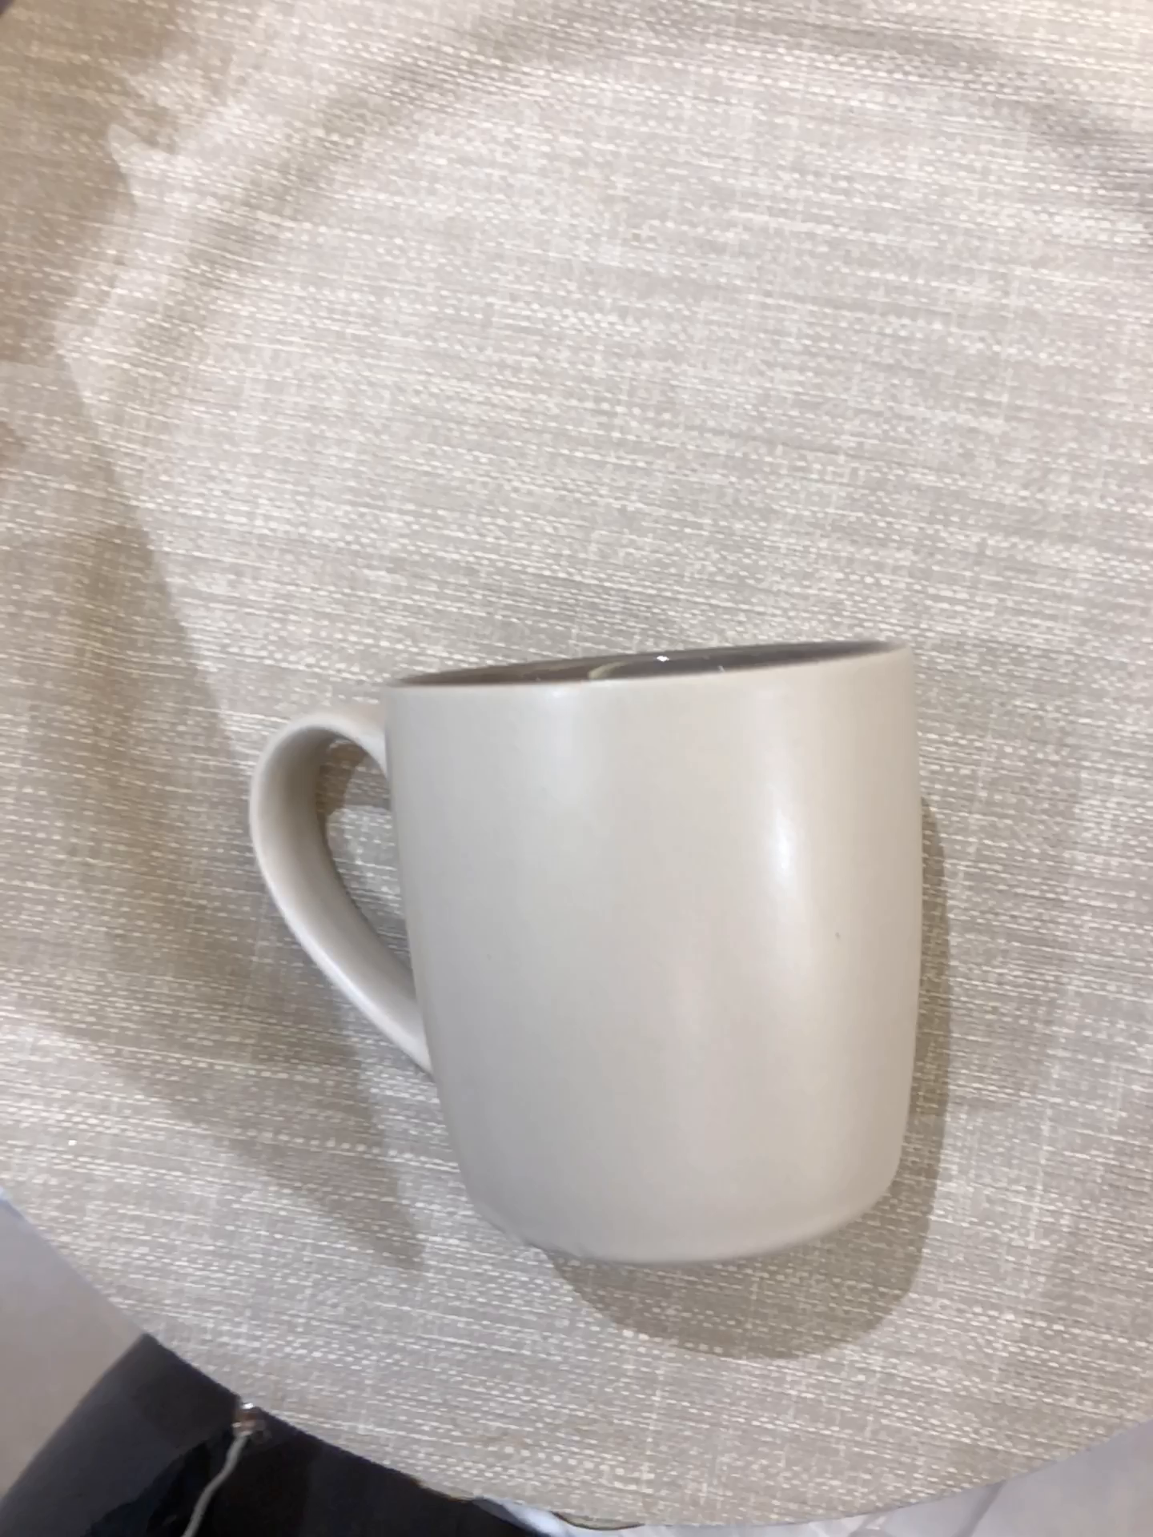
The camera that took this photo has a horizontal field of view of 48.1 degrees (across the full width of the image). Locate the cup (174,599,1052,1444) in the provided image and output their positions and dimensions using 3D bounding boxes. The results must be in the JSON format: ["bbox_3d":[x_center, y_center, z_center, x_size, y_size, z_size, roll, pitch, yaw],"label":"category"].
[{"bbox_3d":[0.007,0.025,0.200,0.100,0.080,0.090,-1,97,38],"label":"cup"}]
